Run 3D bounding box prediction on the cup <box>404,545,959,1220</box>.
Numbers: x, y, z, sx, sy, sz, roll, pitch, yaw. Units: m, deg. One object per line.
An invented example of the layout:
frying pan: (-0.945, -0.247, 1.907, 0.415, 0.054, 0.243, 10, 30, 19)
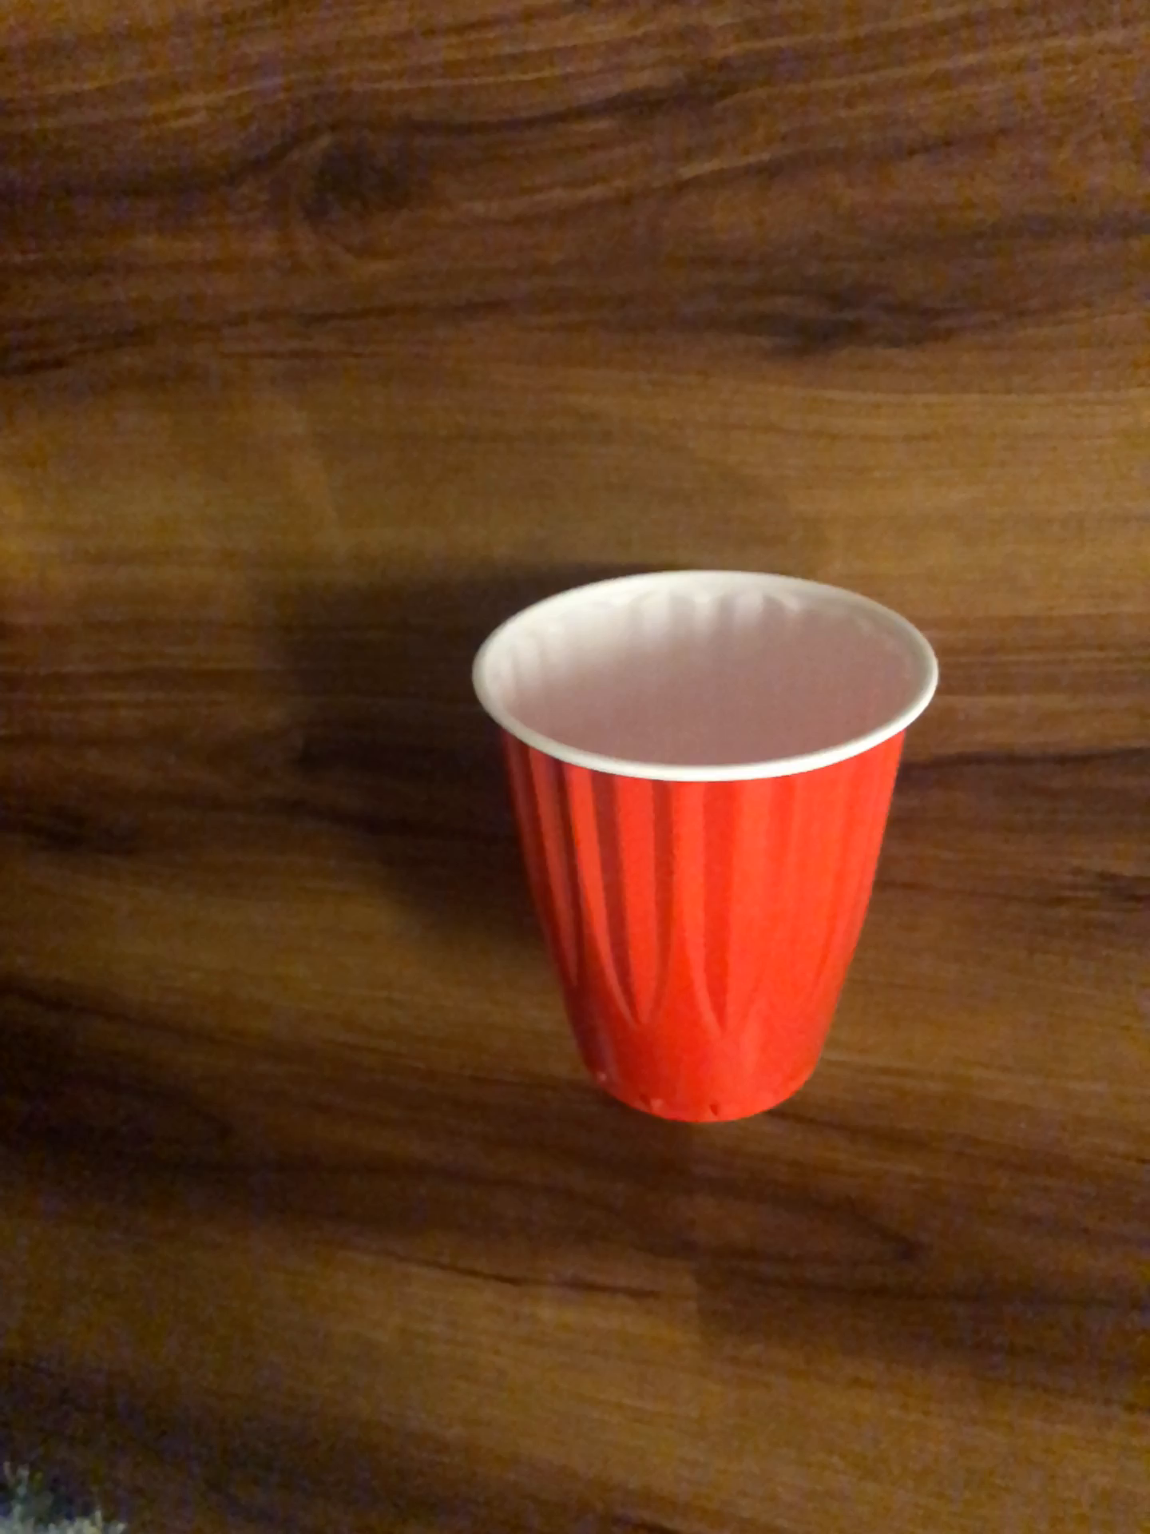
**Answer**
cup: (0.028, 0.022, 0.307, 0.099, 0.089, 0.115, 10, 122, 17)
